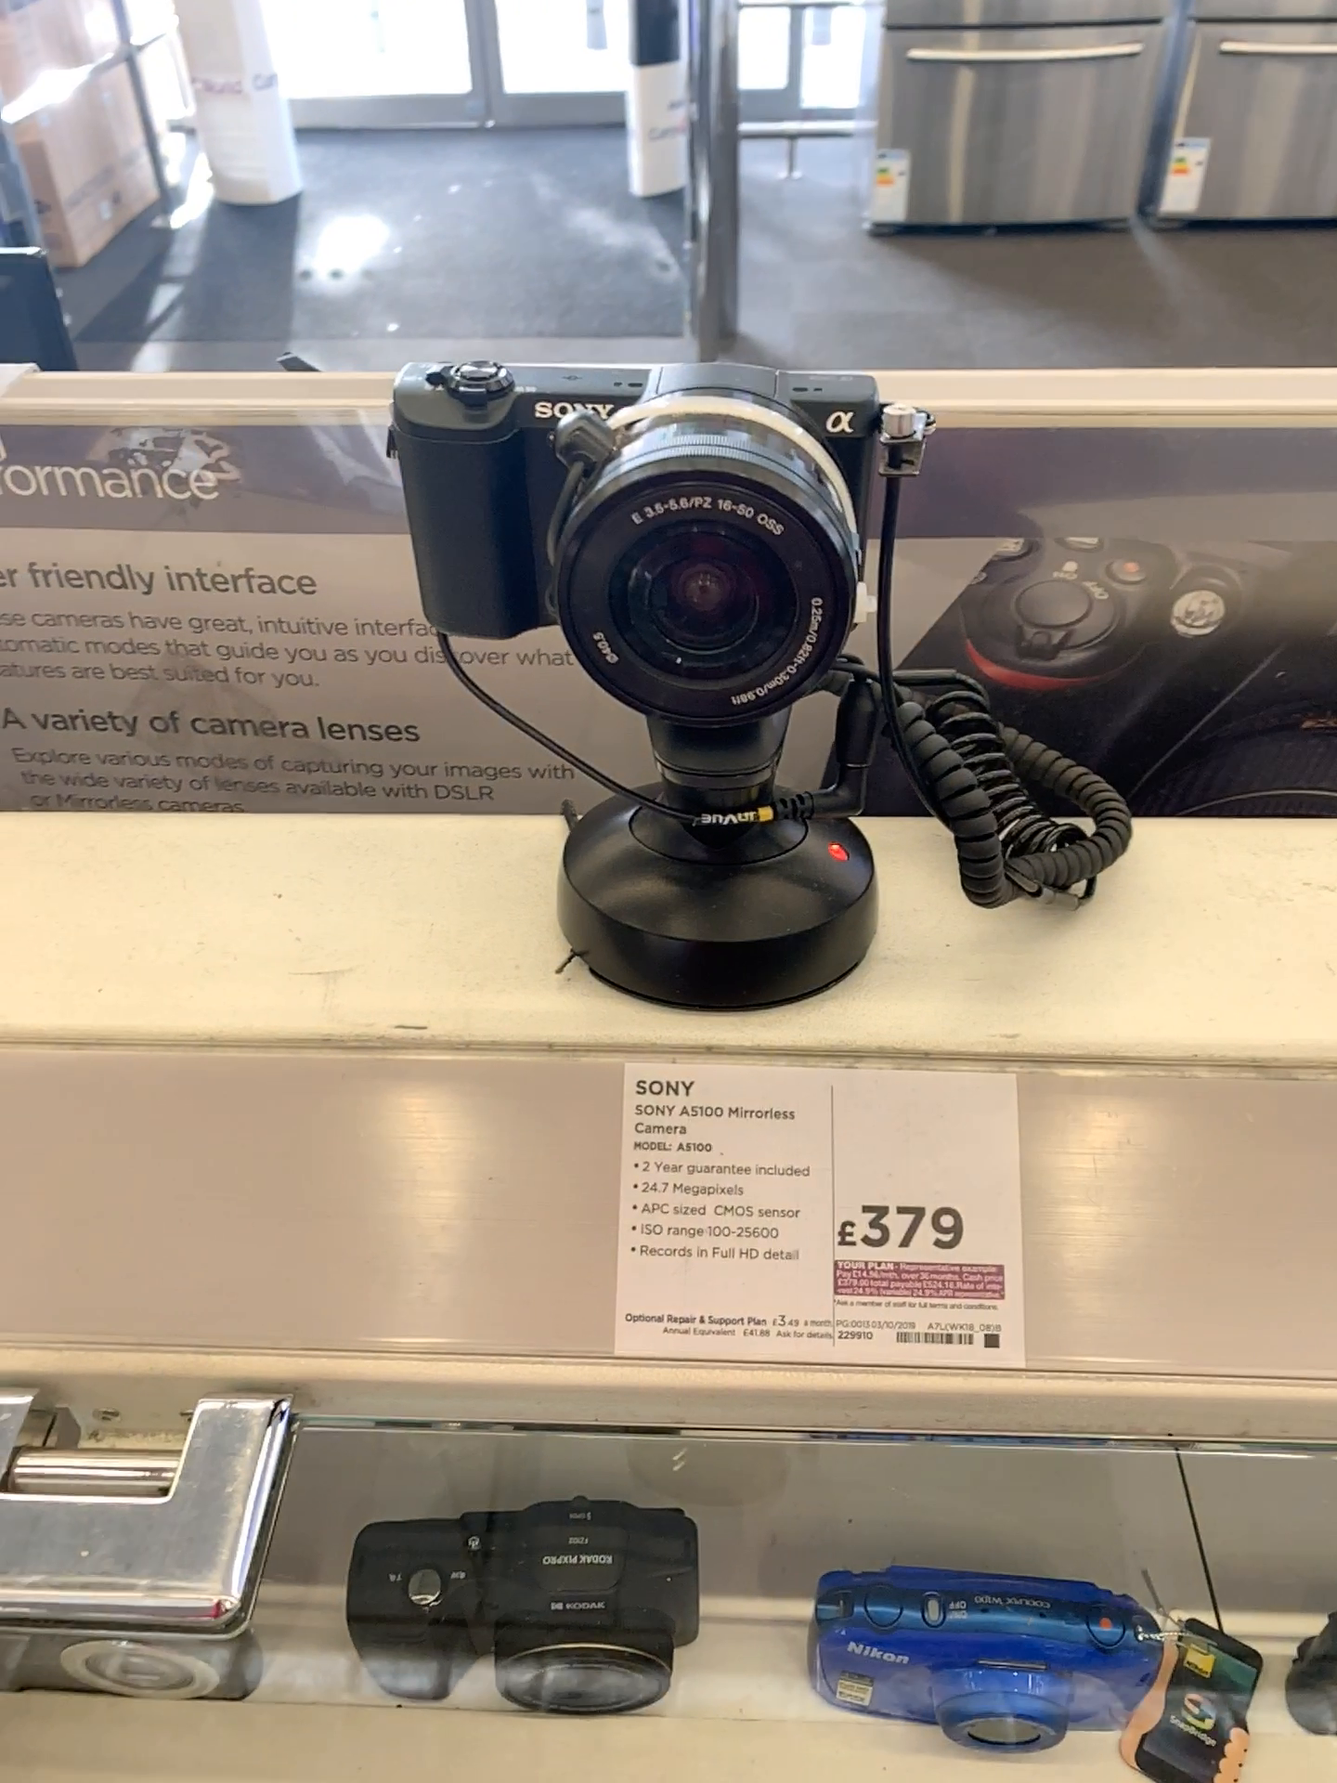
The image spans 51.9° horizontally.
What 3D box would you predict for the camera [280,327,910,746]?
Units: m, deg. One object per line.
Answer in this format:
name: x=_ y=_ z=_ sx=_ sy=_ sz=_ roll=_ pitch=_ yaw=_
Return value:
camera: x=-0.011 y=-0.083 z=0.310 sx=0.120 sy=0.059 sz=0.081 roll=2 pitch=41 yaw=5
